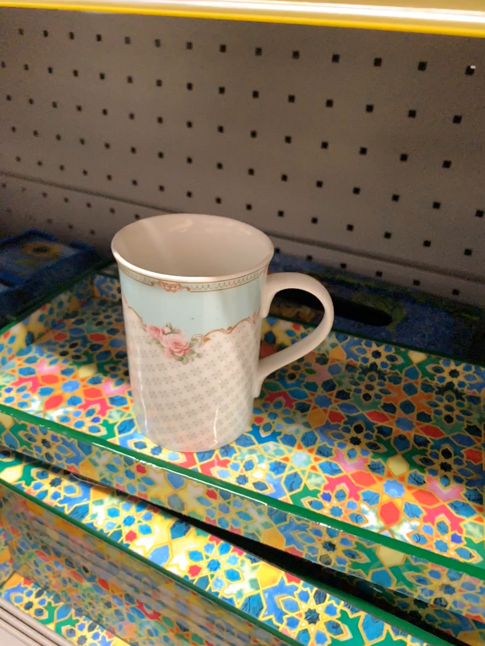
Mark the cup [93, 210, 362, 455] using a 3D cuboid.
[{"bbox_3d":[-0.009,0.004,0.267,0.110,0.100,0.080,1,31,-4],"label":"cup"}]
